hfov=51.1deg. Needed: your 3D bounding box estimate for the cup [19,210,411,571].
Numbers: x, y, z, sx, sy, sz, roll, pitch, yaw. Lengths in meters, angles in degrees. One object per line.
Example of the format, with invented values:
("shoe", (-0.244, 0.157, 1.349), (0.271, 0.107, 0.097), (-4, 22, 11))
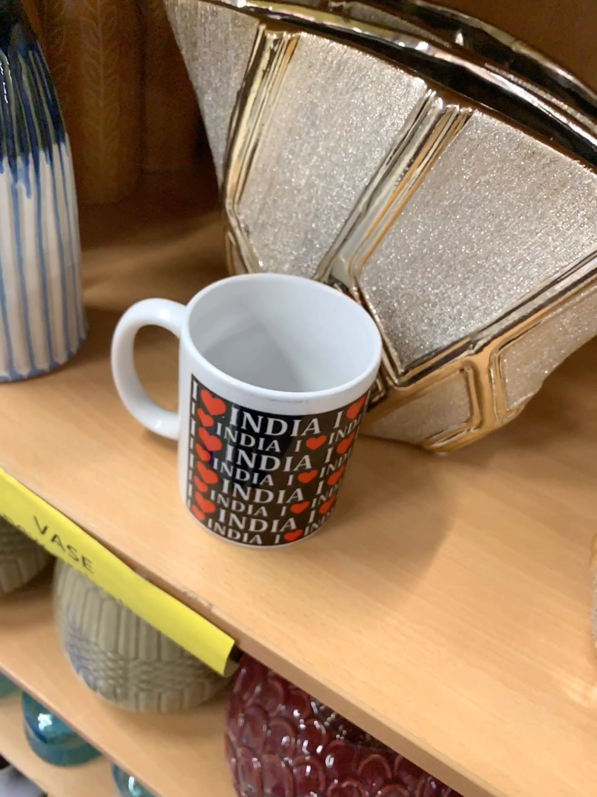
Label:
("cup", (-0.033, -0.008, 0.278), (0.130, 0.090, 0.090), (19, 41, 8))
